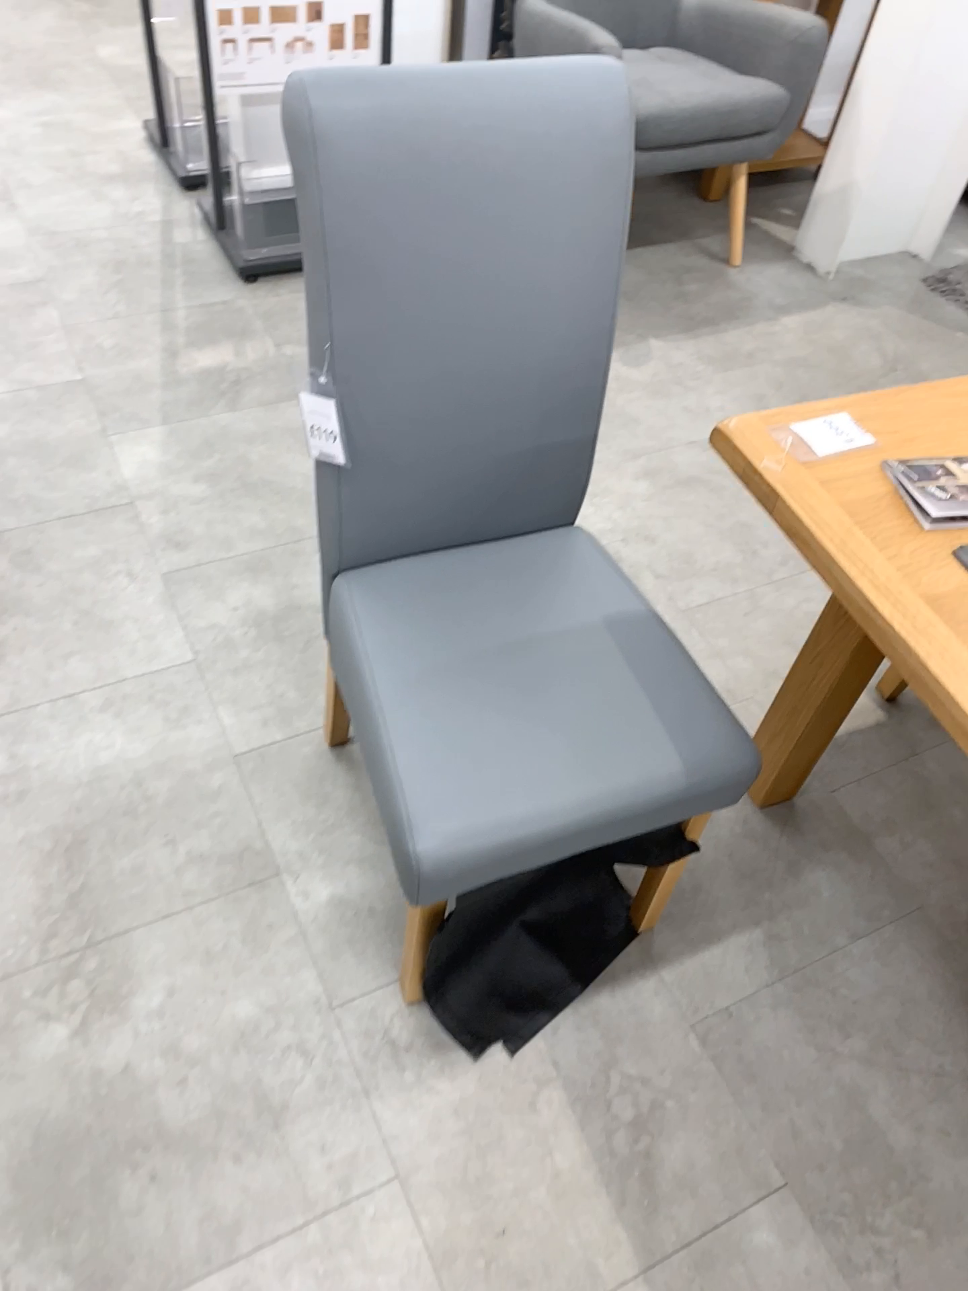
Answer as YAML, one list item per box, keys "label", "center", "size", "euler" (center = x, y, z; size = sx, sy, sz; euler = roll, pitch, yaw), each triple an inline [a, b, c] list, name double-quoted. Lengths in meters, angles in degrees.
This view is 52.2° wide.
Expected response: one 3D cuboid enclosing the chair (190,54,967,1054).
- label: "chair"
  center: [0.009, -0.075, 1.175]
  size: [0.473, 0.906, 0.659]
  euler: [-13, 52, -18]
